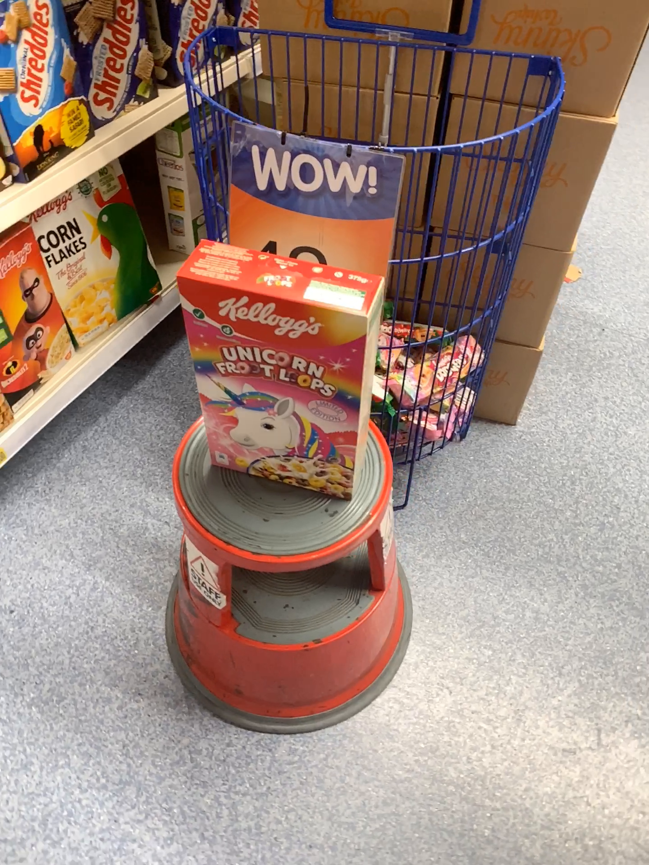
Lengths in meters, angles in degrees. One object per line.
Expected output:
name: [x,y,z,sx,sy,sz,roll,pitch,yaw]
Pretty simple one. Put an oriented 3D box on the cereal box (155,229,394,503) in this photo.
cereal box: [-0.049,-0.058,0.721,0.210,0.287,0.071,13,50,10]
